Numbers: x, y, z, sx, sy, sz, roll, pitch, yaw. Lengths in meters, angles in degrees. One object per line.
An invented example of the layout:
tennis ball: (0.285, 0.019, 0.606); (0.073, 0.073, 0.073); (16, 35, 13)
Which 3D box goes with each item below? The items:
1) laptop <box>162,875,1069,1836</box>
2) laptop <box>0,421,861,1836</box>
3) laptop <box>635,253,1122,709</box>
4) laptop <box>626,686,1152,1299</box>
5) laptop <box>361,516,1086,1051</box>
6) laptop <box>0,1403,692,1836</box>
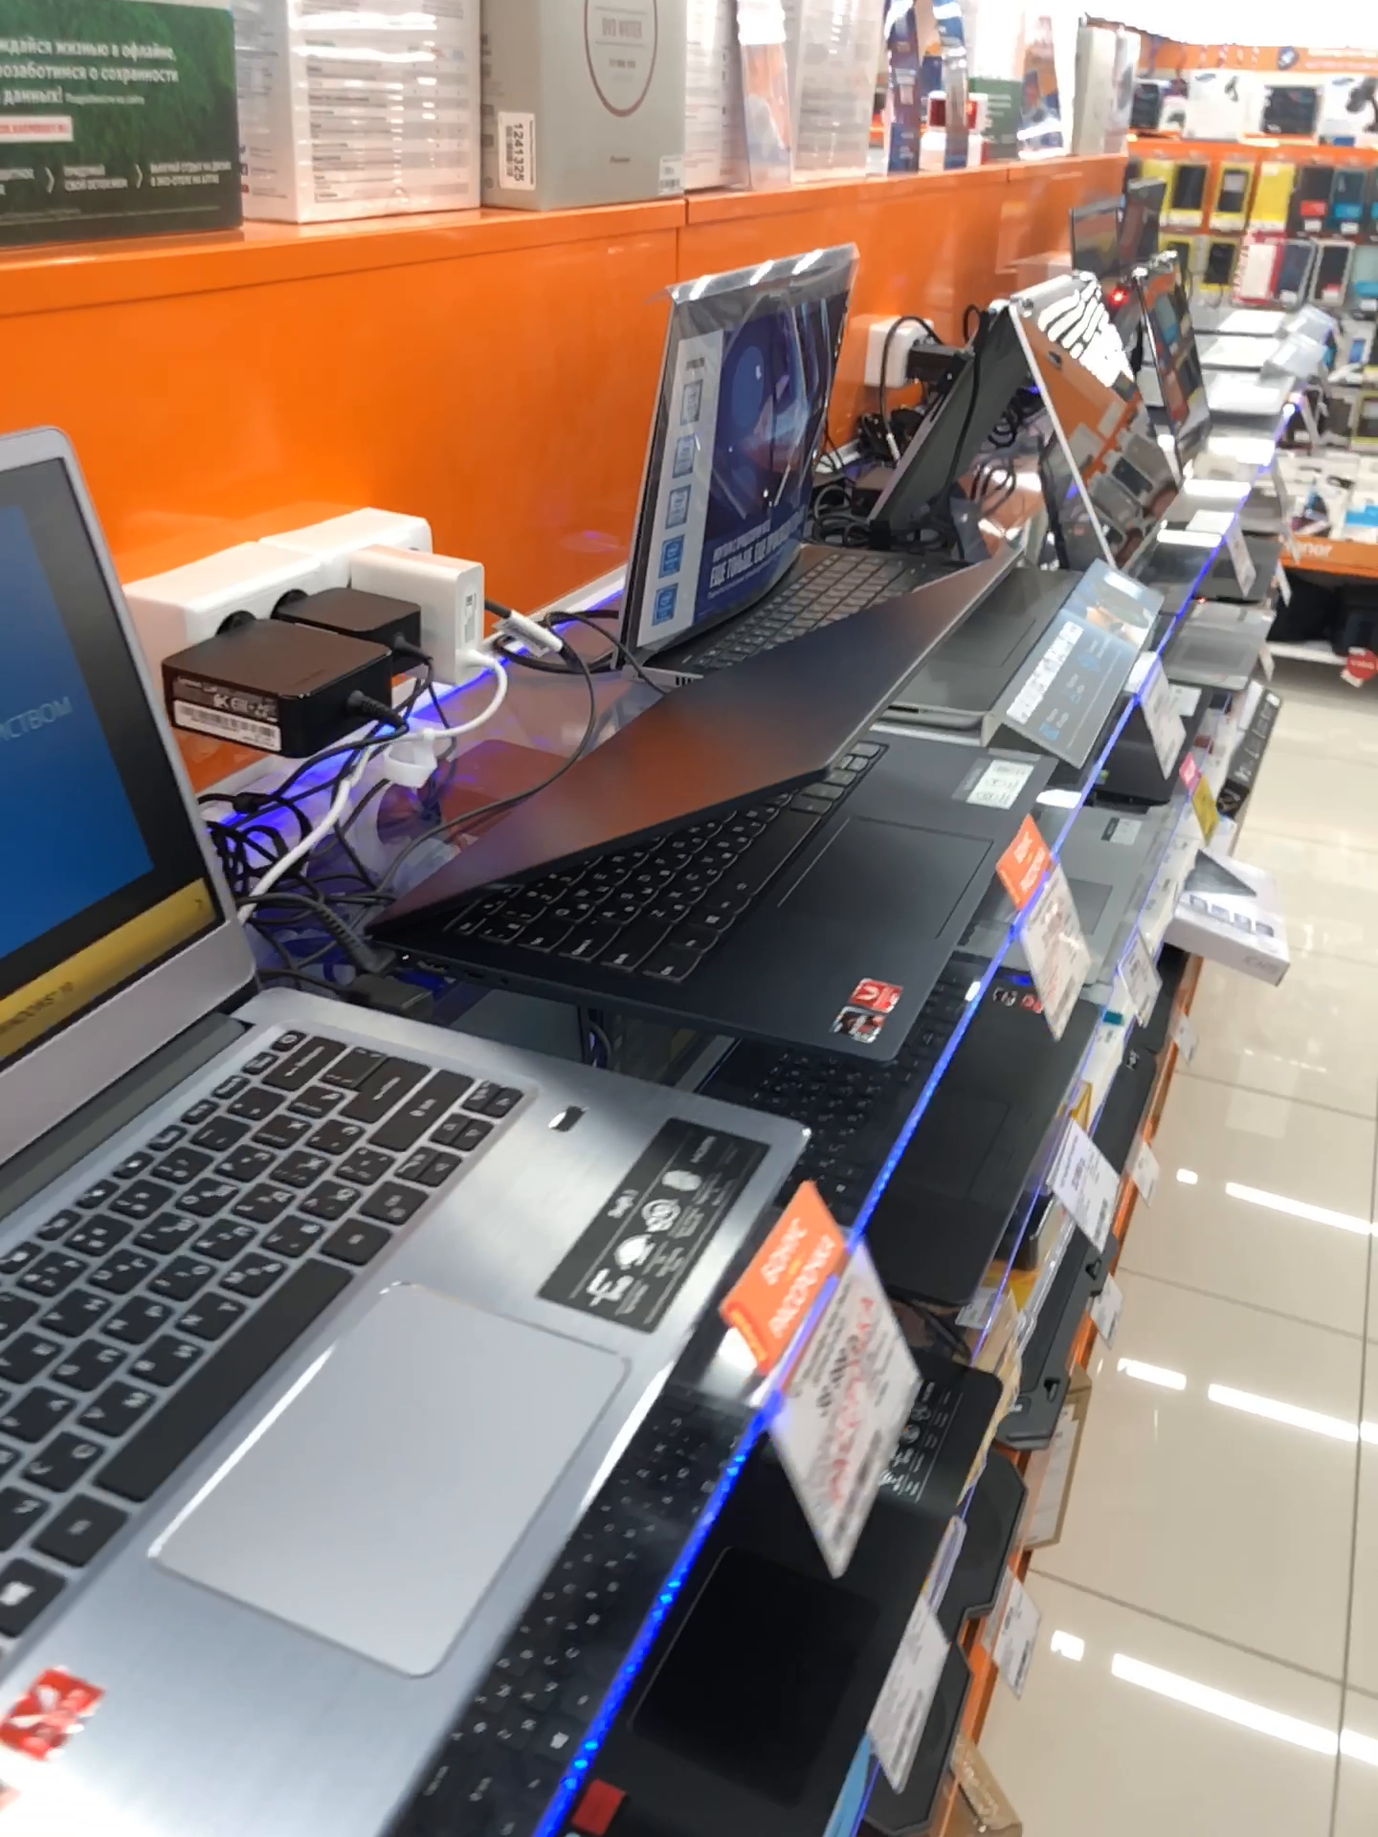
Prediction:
laptop: (-0.008, 0.181, 0.668); (0.246, 0.230, 0.344); (14, 30, 23)
laptop: (-0.117, 0.020, 0.356); (0.224, 0.203, 0.317); (12, 29, 20)
laptop: (0.126, -0.301, 0.973); (0.228, 0.213, 0.307); (12, 29, 22)
laptop: (0.139, 0.020, 0.992); (0.225, 0.215, 0.354); (13, 30, 23)
laptop: (0.034, -0.084, 0.683); (0.211, 0.106, 0.300); (13, 30, 21)
laptop: (-0.167, 0.344, 0.339); (0.235, 0.208, 0.349); (12, 28, 19)
